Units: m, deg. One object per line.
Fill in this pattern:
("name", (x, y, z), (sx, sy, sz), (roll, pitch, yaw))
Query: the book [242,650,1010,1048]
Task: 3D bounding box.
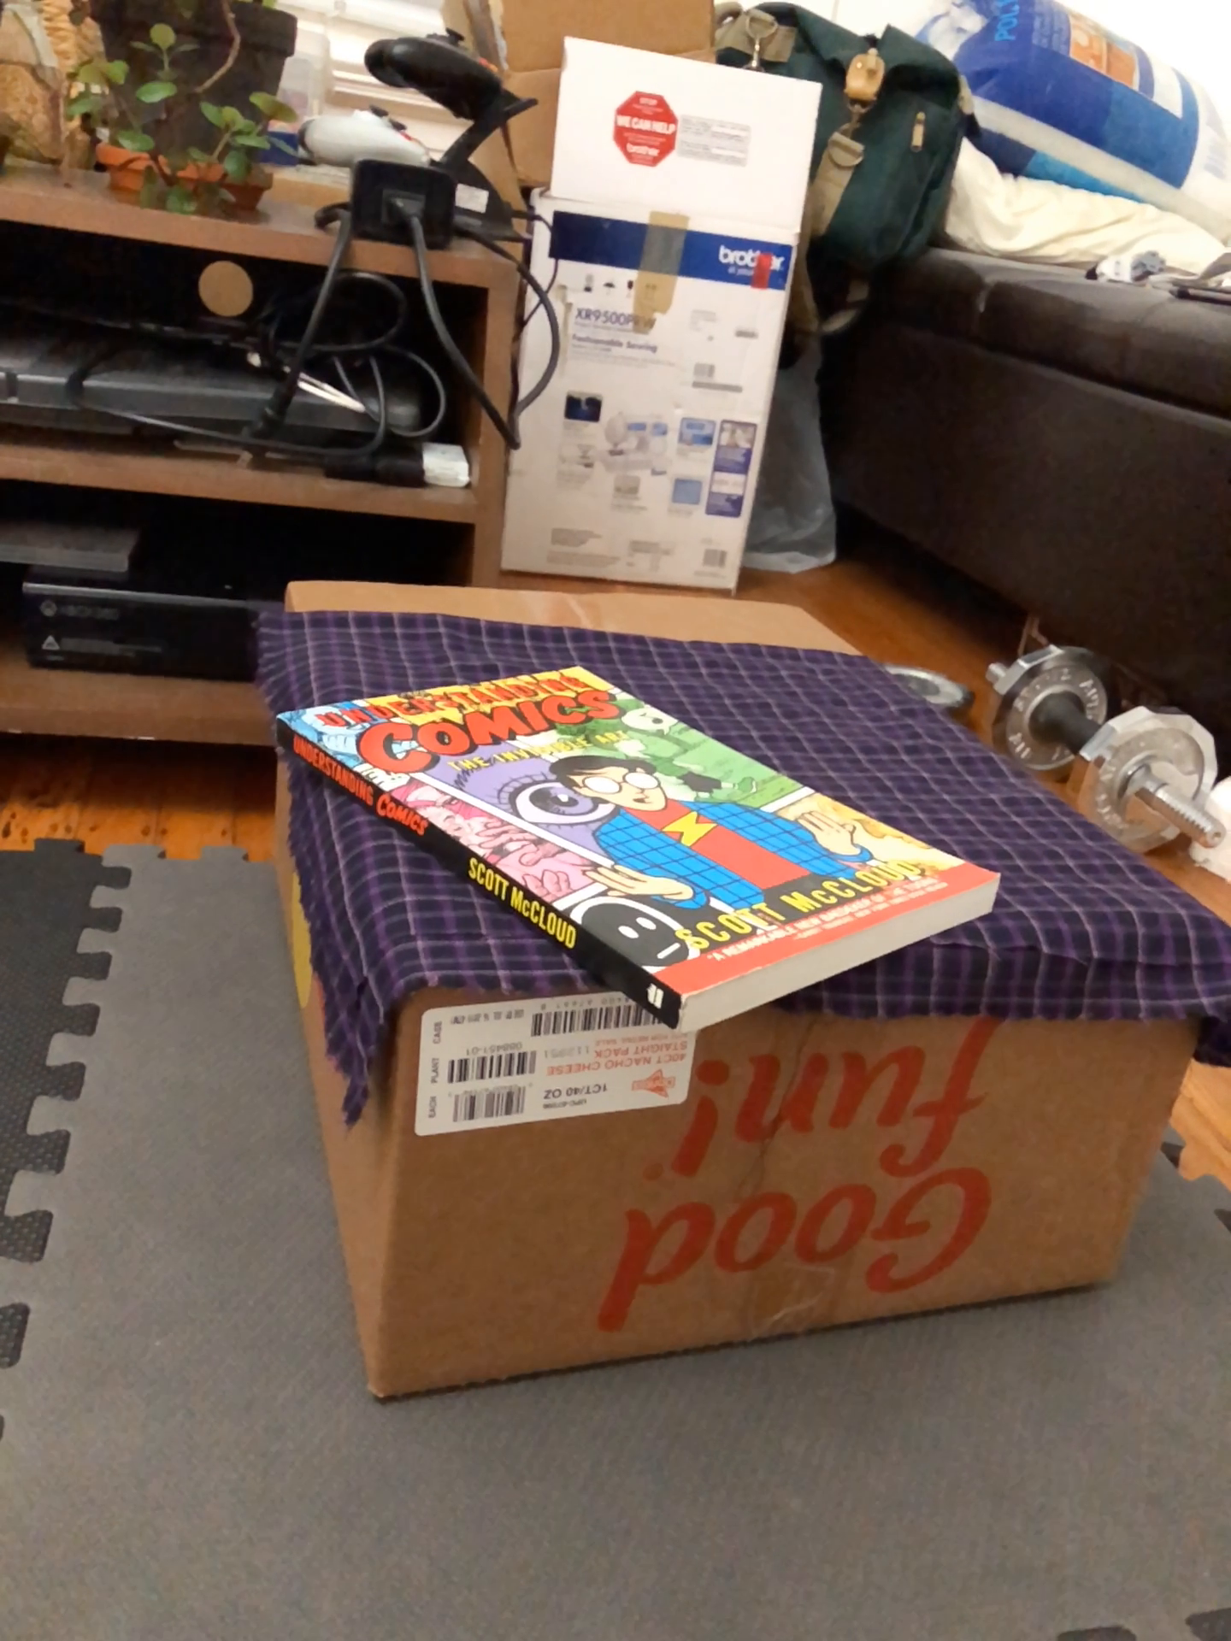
("book", (-0.006, -0.009, 0.541), (0.171, 0.020, 0.271), (-14, 32, -40))
